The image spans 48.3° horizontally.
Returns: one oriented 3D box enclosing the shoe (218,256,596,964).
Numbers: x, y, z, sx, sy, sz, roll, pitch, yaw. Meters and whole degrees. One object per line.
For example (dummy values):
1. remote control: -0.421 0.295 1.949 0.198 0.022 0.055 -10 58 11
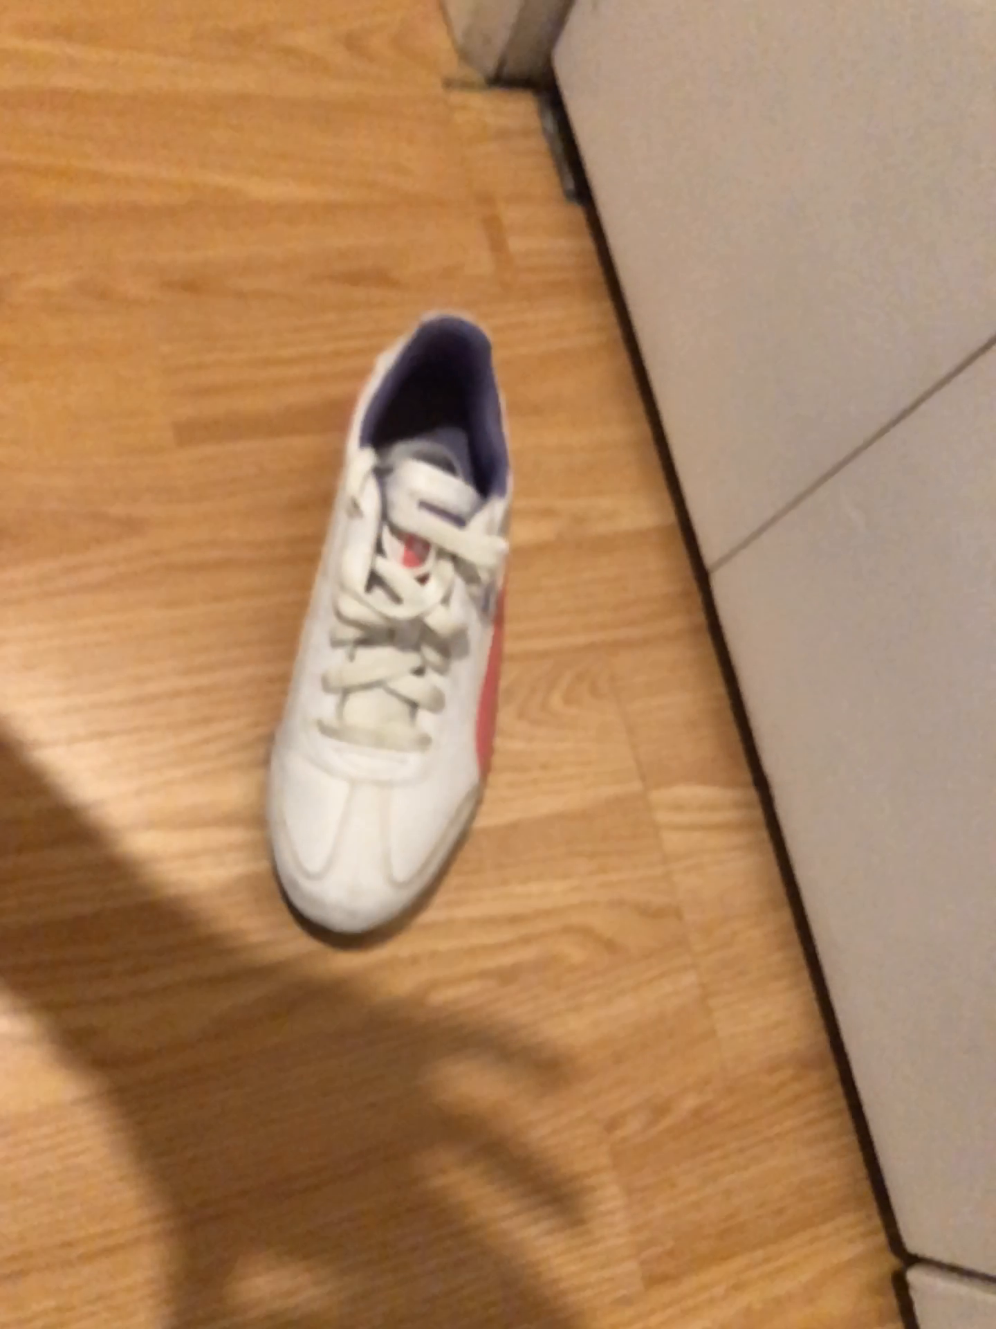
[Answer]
1. shoe: -0.033 -0.021 0.450 0.100 0.080 0.260 13 69 -14
